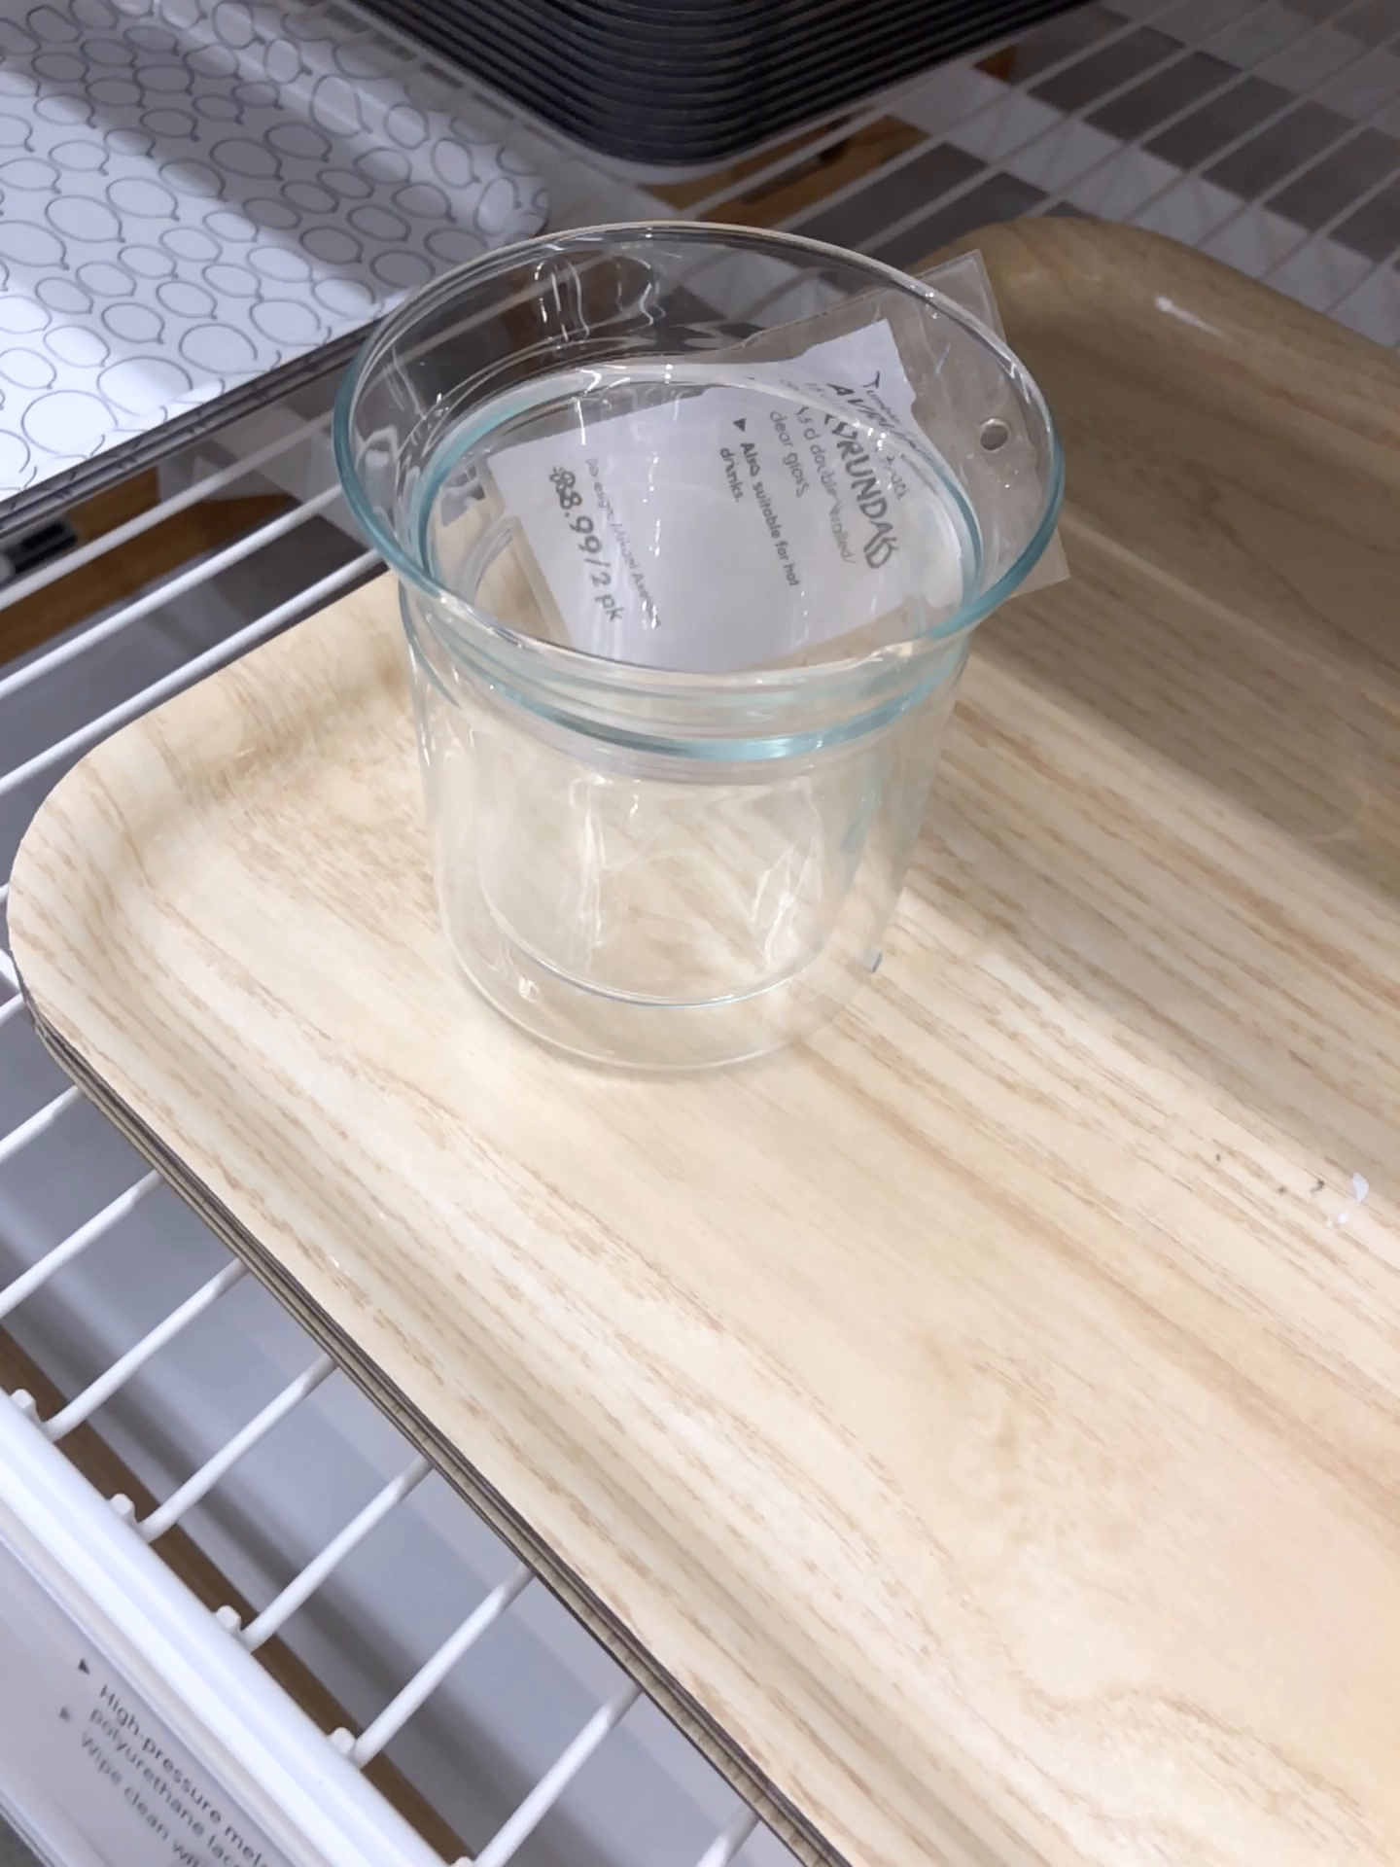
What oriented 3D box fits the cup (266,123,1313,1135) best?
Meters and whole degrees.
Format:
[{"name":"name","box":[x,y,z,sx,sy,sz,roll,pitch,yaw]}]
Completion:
[{"name":"cup","box":[0.008,-0.038,0.207,0.100,0.080,0.090,7,53,-3]}]
